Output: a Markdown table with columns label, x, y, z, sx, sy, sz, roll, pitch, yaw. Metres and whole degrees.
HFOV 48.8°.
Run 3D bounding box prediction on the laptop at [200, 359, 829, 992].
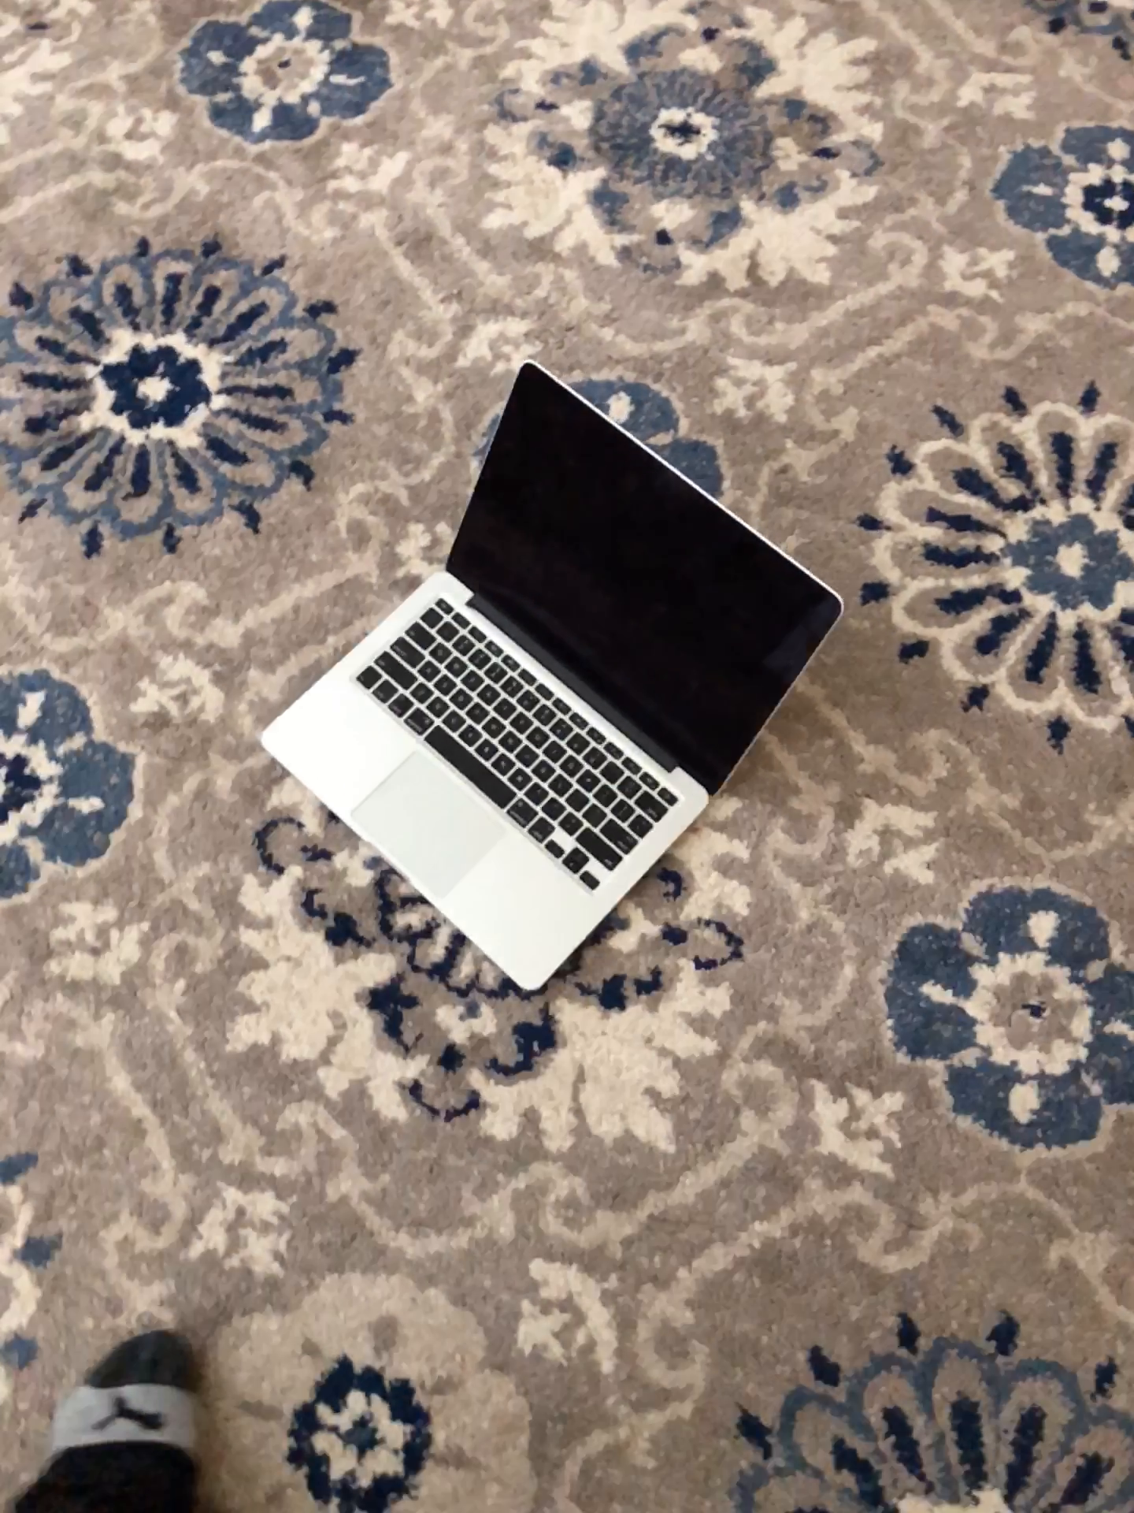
| label | x | y | z | sx | sy | sz | roll | pitch | yaw |
| --- | --- | --- | --- | --- | --- | --- | --- | --- | --- |
| laptop | -0.032 | -0.061 | 0.939 | 0.300 | 0.171 | 0.322 | 40 | 73 | 13 |
